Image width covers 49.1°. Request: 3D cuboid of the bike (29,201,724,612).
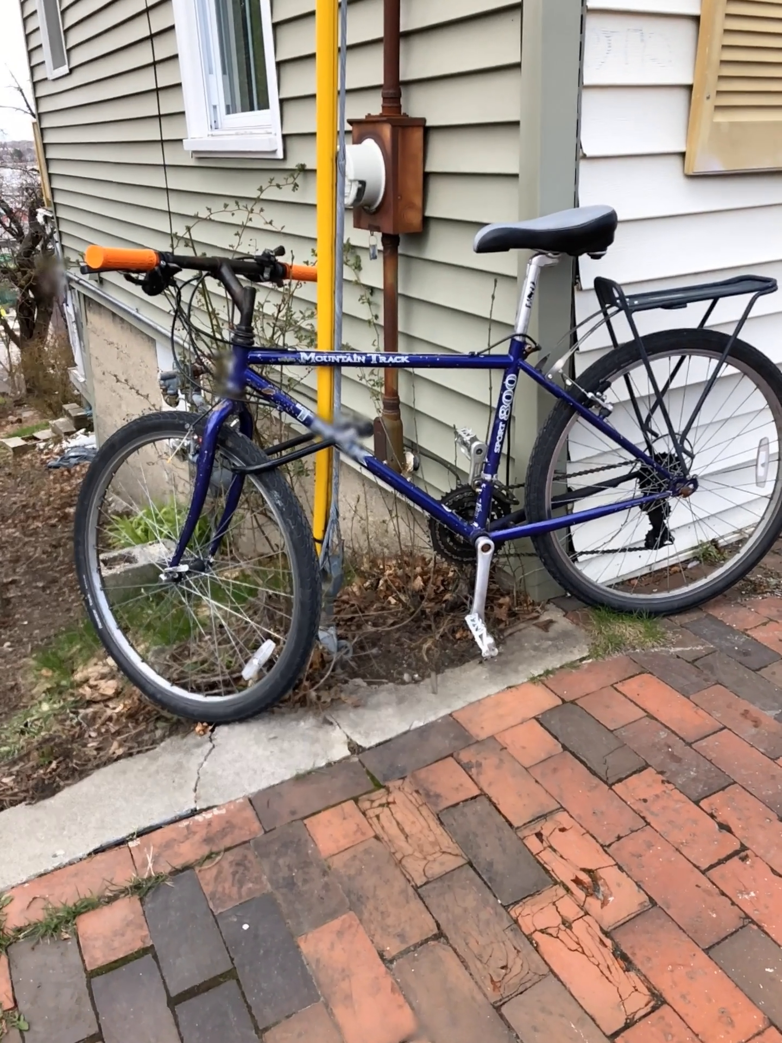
[{"bbox_3d":[-0.085,-0.249,1.778,1.146,0.690,0.515,-2,24,3],"label":"bike"}]
